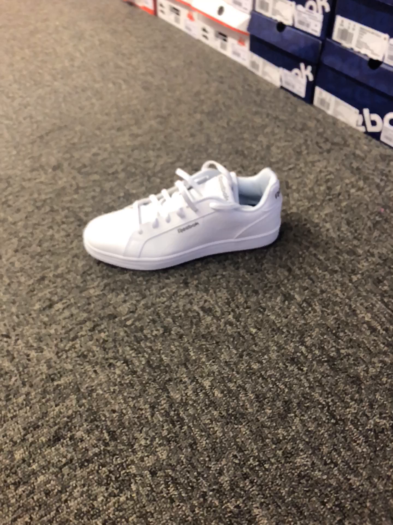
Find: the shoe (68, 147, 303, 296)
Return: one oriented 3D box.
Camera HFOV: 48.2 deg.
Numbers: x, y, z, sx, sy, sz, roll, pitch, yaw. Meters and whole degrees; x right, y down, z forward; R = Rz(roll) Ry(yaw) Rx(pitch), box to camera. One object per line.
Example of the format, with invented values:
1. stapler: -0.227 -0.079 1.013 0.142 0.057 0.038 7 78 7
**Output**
1. shoe: -0.011 -0.050 0.548 0.260 0.100 0.100 -10 47 1
